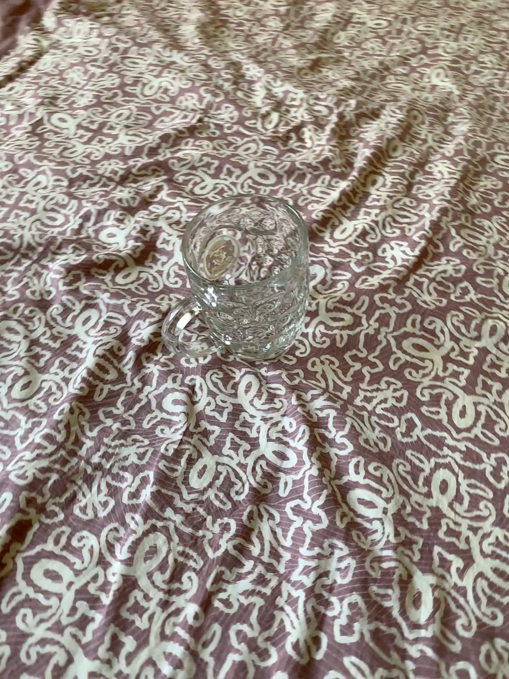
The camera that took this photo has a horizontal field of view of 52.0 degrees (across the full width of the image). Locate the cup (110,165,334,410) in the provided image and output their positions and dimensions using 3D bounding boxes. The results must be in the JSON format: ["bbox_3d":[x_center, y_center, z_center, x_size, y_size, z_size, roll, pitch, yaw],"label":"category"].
[{"bbox_3d":[-0.018,-0.039,0.391,0.120,0.109,0.090,-34,56,-19],"label":"cup"}]
